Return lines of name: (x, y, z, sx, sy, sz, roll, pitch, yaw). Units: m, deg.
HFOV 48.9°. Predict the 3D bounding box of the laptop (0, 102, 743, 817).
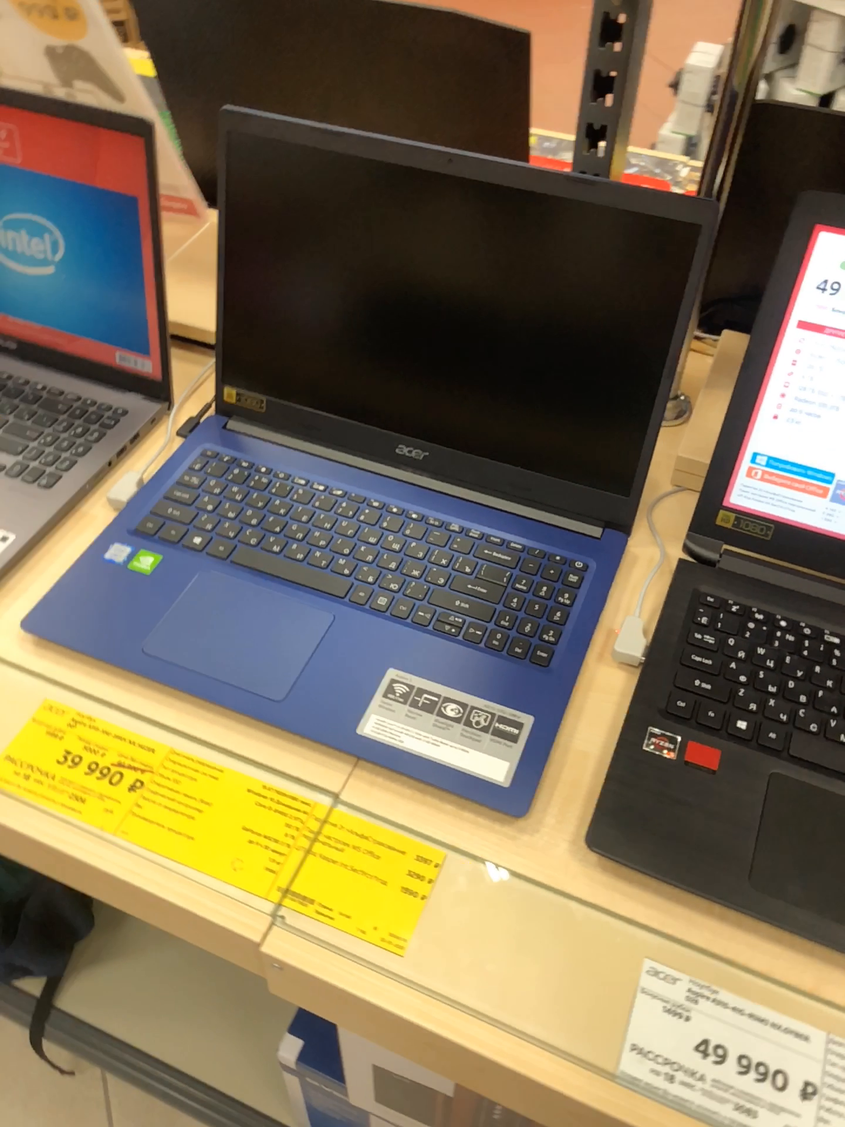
laptop: (-0.030, -0.095, 0.610, 0.357, 0.221, 0.328, 18, 50, 15)
